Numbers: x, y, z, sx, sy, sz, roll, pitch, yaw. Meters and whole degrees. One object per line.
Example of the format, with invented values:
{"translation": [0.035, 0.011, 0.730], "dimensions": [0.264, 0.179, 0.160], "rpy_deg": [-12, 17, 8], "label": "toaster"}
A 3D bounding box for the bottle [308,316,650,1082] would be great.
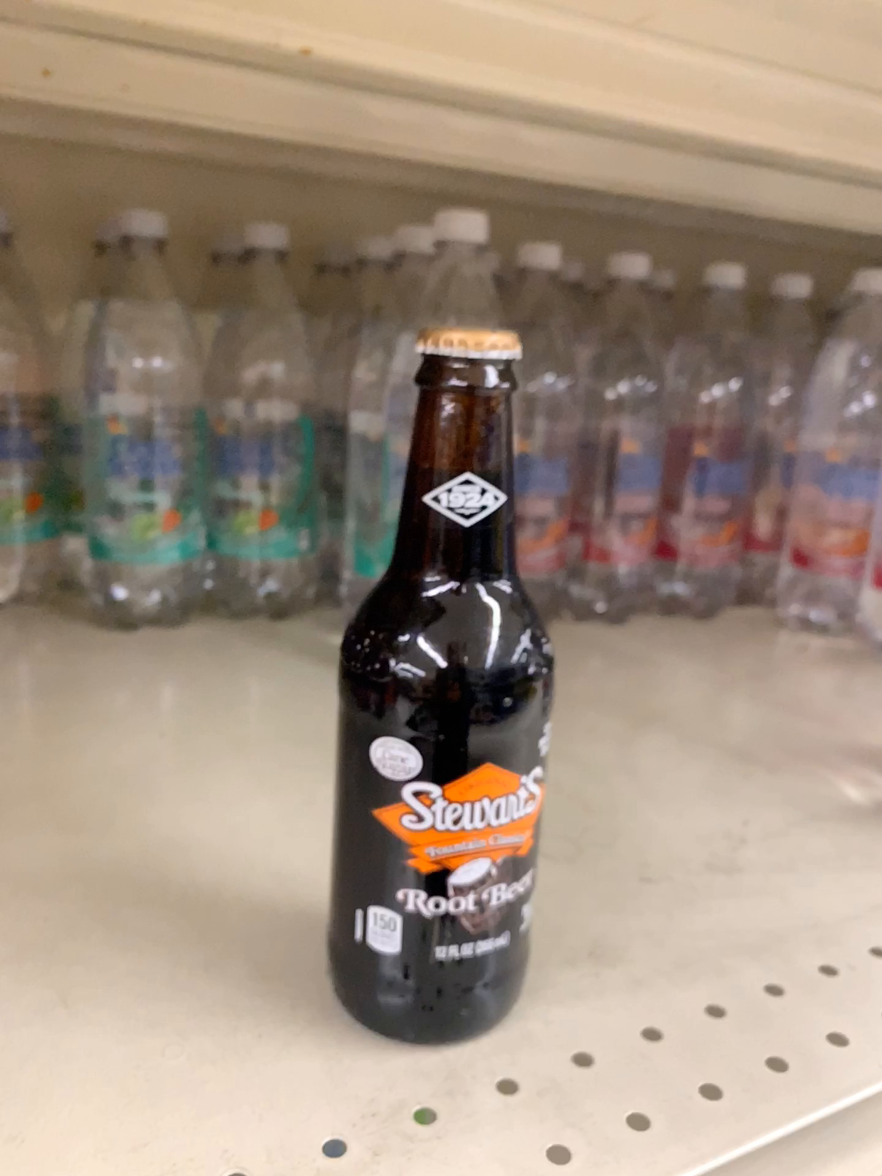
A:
{"translation": [0.003, 0.030, 0.274], "dimensions": [0.070, 0.208, 0.060], "rpy_deg": [-1, 16, -18], "label": "bottle"}
